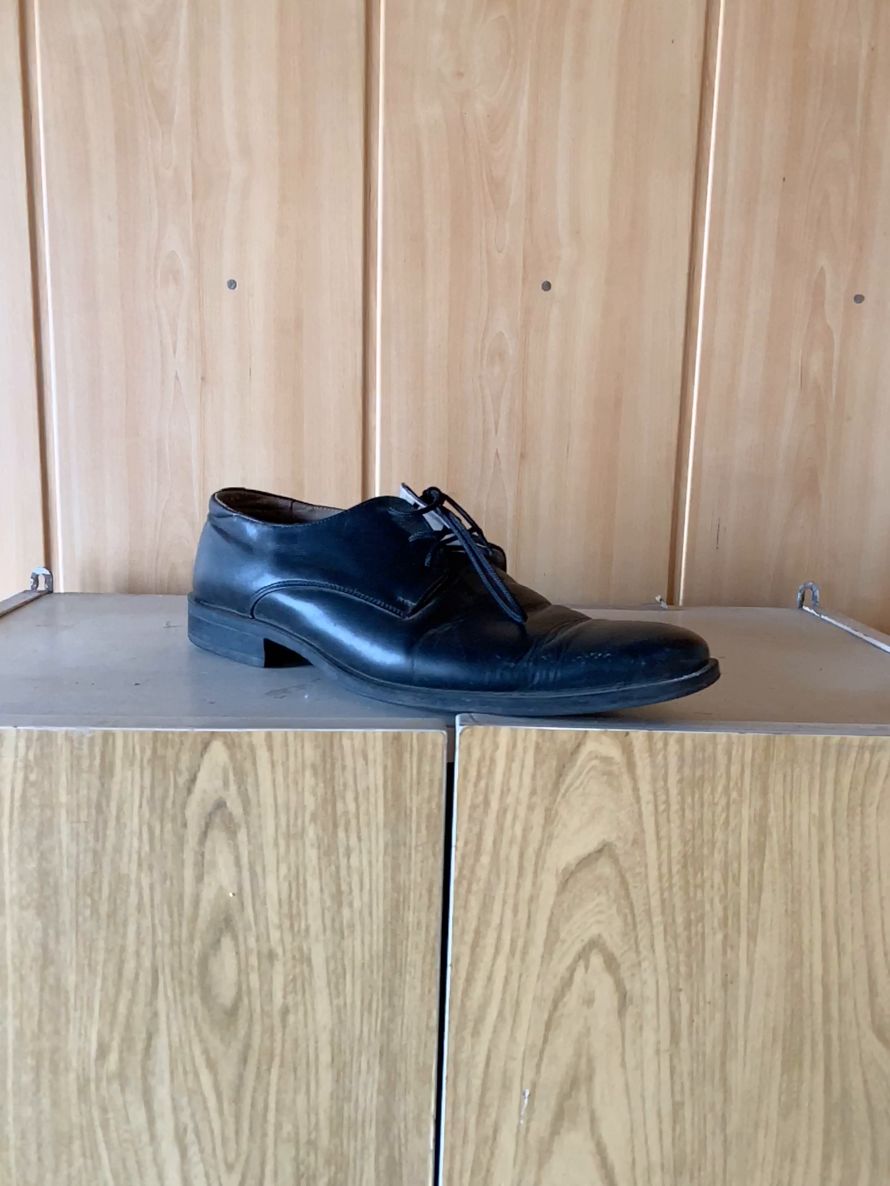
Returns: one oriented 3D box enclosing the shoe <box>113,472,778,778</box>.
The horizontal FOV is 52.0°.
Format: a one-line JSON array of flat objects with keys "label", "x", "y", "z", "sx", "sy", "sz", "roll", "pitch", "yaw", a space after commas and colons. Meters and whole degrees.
[{"label": "shoe", "x": -0.009, "y": -0.006, "z": 0.458, "sx": 0.300, "sy": 0.090, "sz": 0.140, "roll": 8, "pitch": 12, "yaw": 32}]
